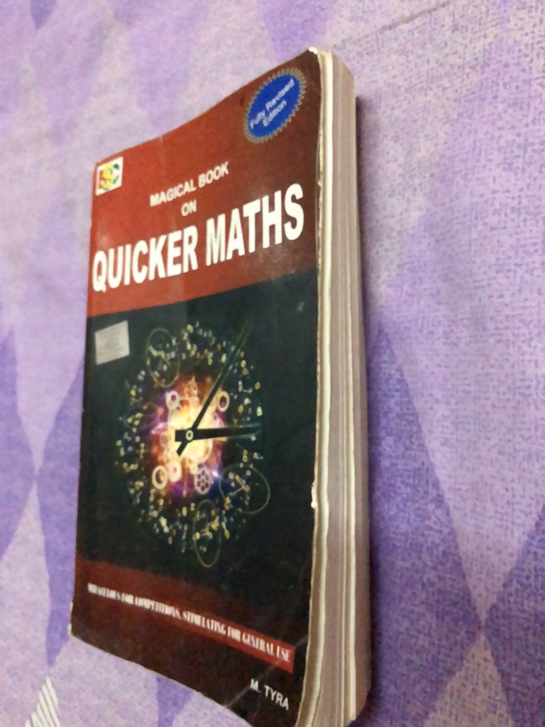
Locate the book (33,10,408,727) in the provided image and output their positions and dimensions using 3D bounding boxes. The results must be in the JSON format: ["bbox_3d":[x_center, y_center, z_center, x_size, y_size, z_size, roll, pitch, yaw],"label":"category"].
[{"bbox_3d":[-0.027,0.009,0.242,0.151,0.050,0.220,-6,80,42],"label":"book"}]
